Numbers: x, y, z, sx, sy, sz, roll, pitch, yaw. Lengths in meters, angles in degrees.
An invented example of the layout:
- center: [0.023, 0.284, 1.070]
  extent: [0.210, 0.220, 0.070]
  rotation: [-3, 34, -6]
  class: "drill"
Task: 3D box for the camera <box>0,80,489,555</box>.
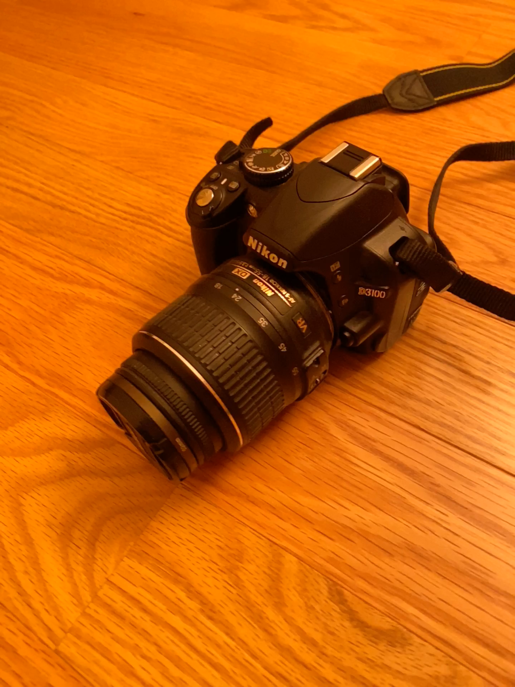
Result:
- center: [-0.004, -0.021, 0.251]
  extent: [0.130, 0.099, 0.160]
  rotation: [34, 63, 25]
  class: "camera"
